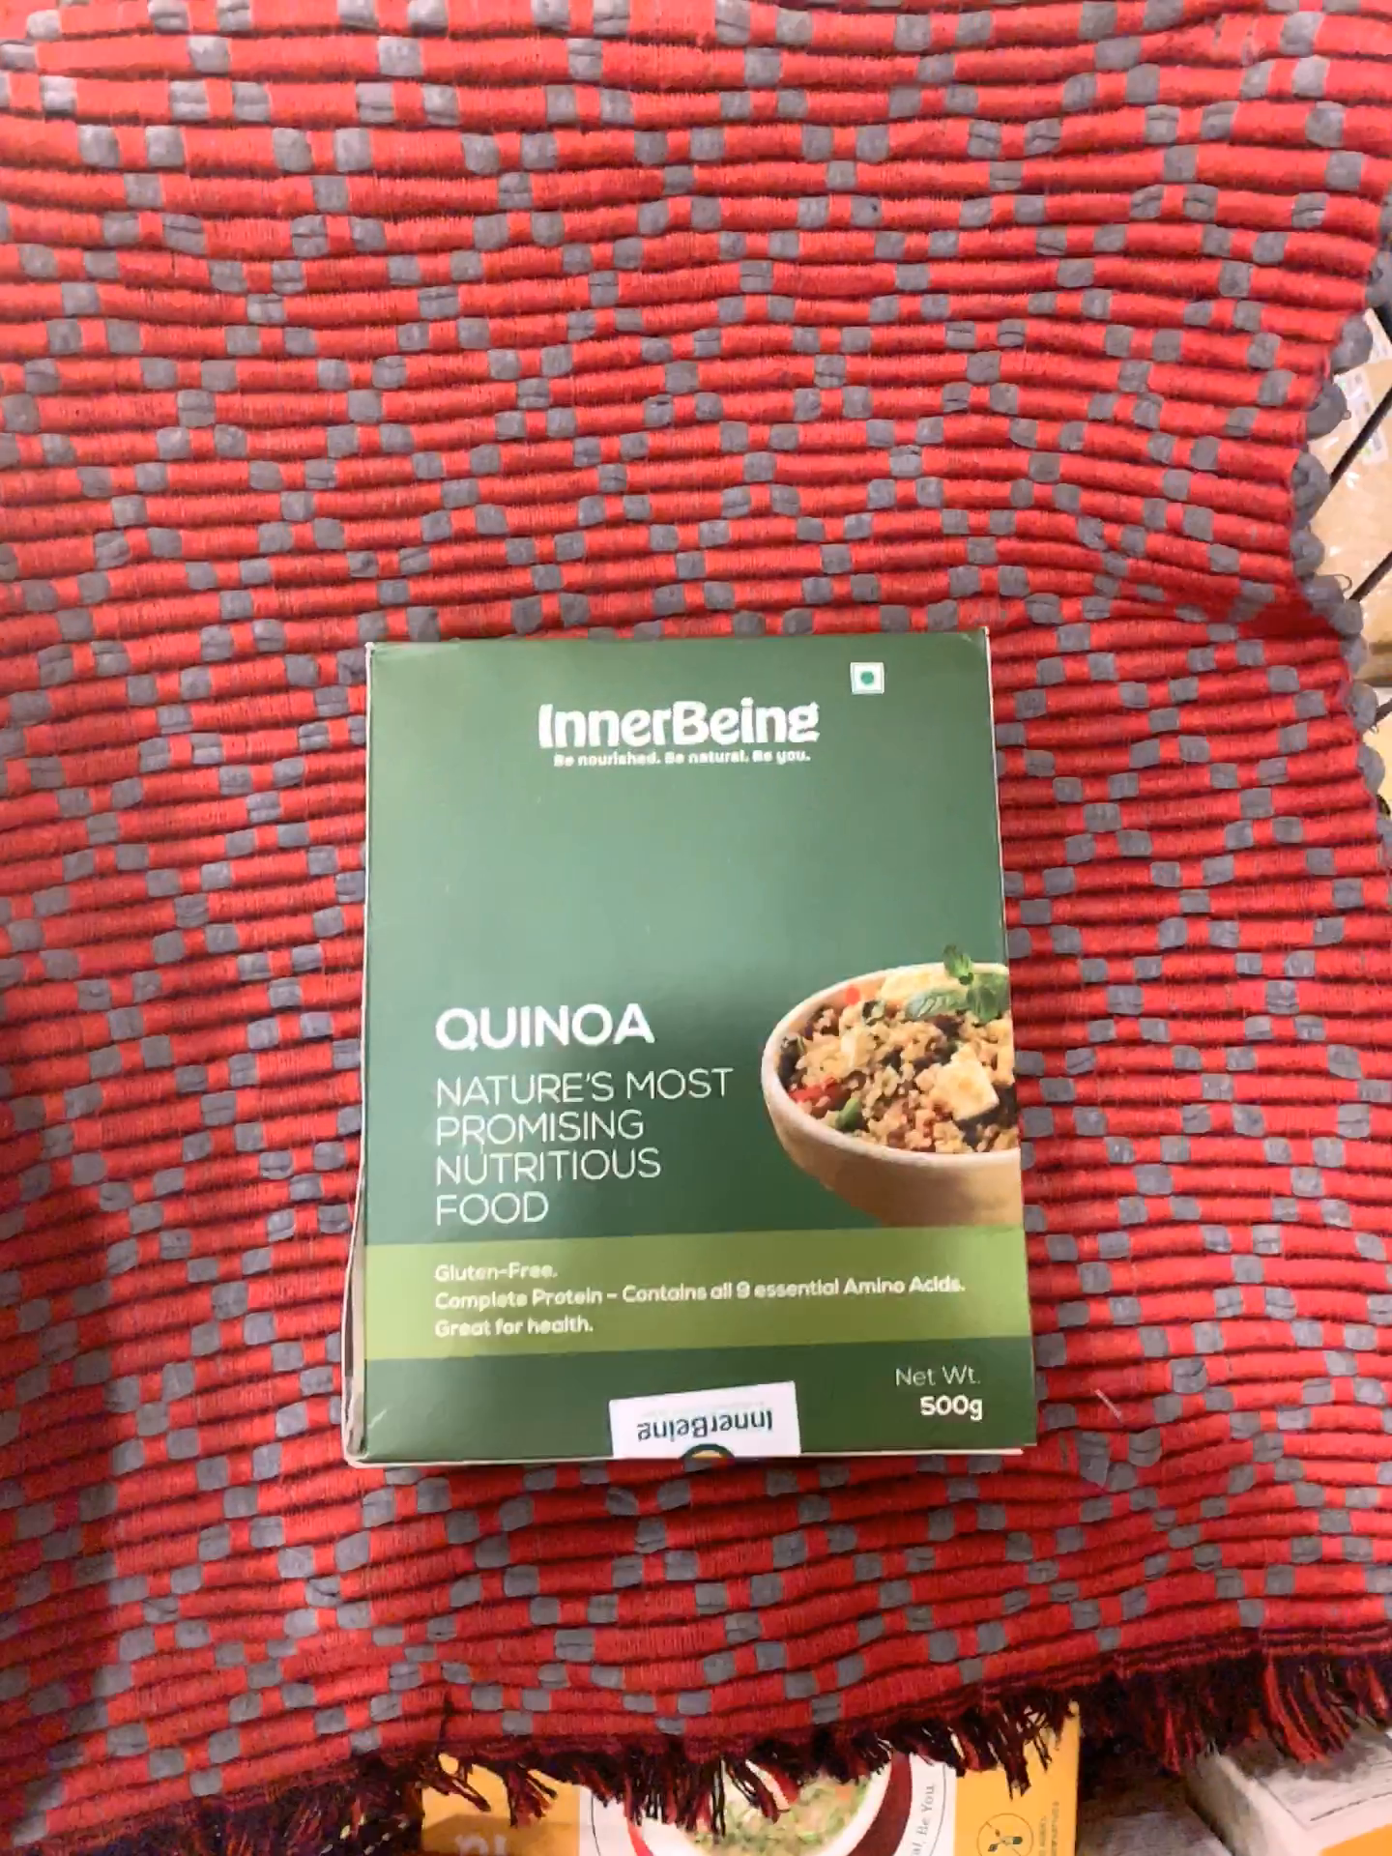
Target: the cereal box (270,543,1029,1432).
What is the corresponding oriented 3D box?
[{"bbox_3d":[-0.011,0.011,0.313,0.150,0.040,0.180,-2,82,1],"label":"cereal box"}]
